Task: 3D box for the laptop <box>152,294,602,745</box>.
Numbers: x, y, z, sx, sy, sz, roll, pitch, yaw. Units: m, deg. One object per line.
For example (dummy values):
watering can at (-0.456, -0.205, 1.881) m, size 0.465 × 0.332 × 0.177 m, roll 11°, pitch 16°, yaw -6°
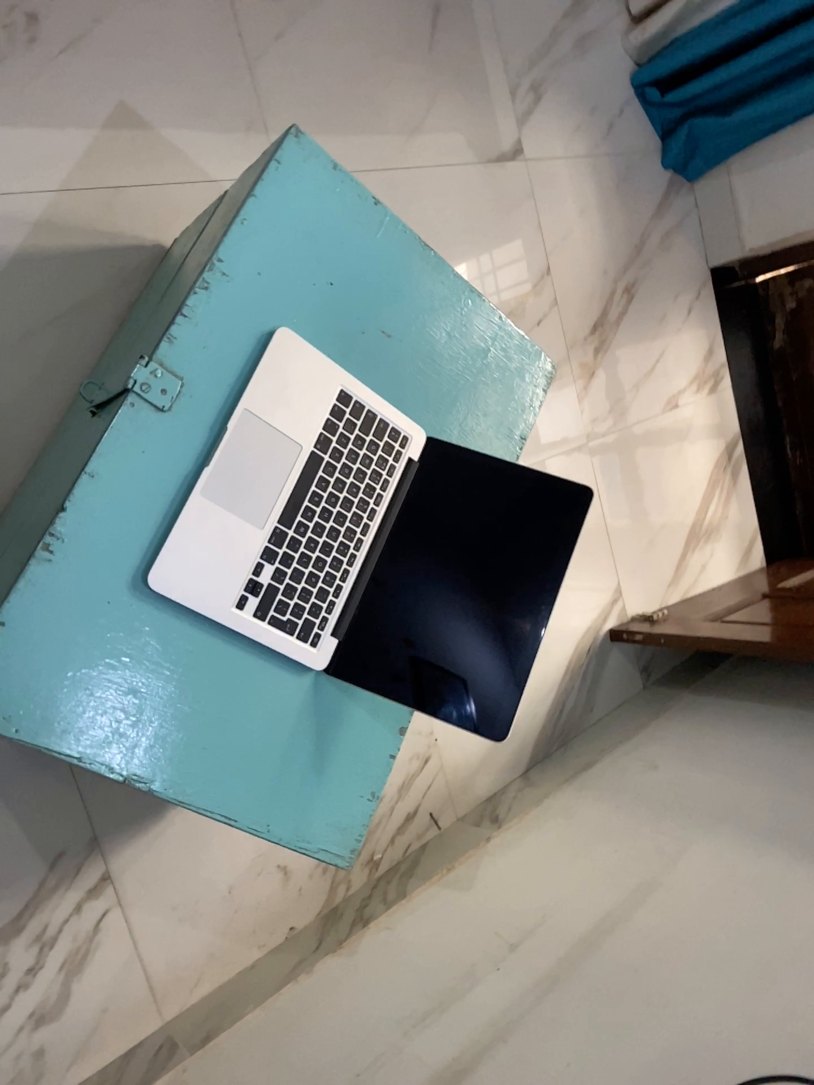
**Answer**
laptop at (-0.011, -0.009, 0.890) m, size 0.378 × 0.148 × 0.313 m, roll 32°, pitch 70°, yaw -30°
